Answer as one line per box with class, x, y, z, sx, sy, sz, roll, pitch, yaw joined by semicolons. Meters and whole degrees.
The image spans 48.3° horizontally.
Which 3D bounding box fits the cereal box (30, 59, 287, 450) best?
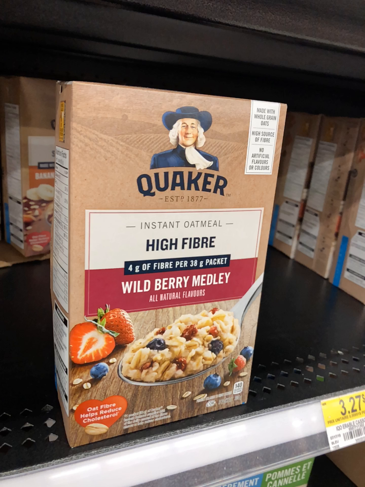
cereal box;-0.020;0.006;0.252;0.130;0.199;0.060;-3;17;-24
